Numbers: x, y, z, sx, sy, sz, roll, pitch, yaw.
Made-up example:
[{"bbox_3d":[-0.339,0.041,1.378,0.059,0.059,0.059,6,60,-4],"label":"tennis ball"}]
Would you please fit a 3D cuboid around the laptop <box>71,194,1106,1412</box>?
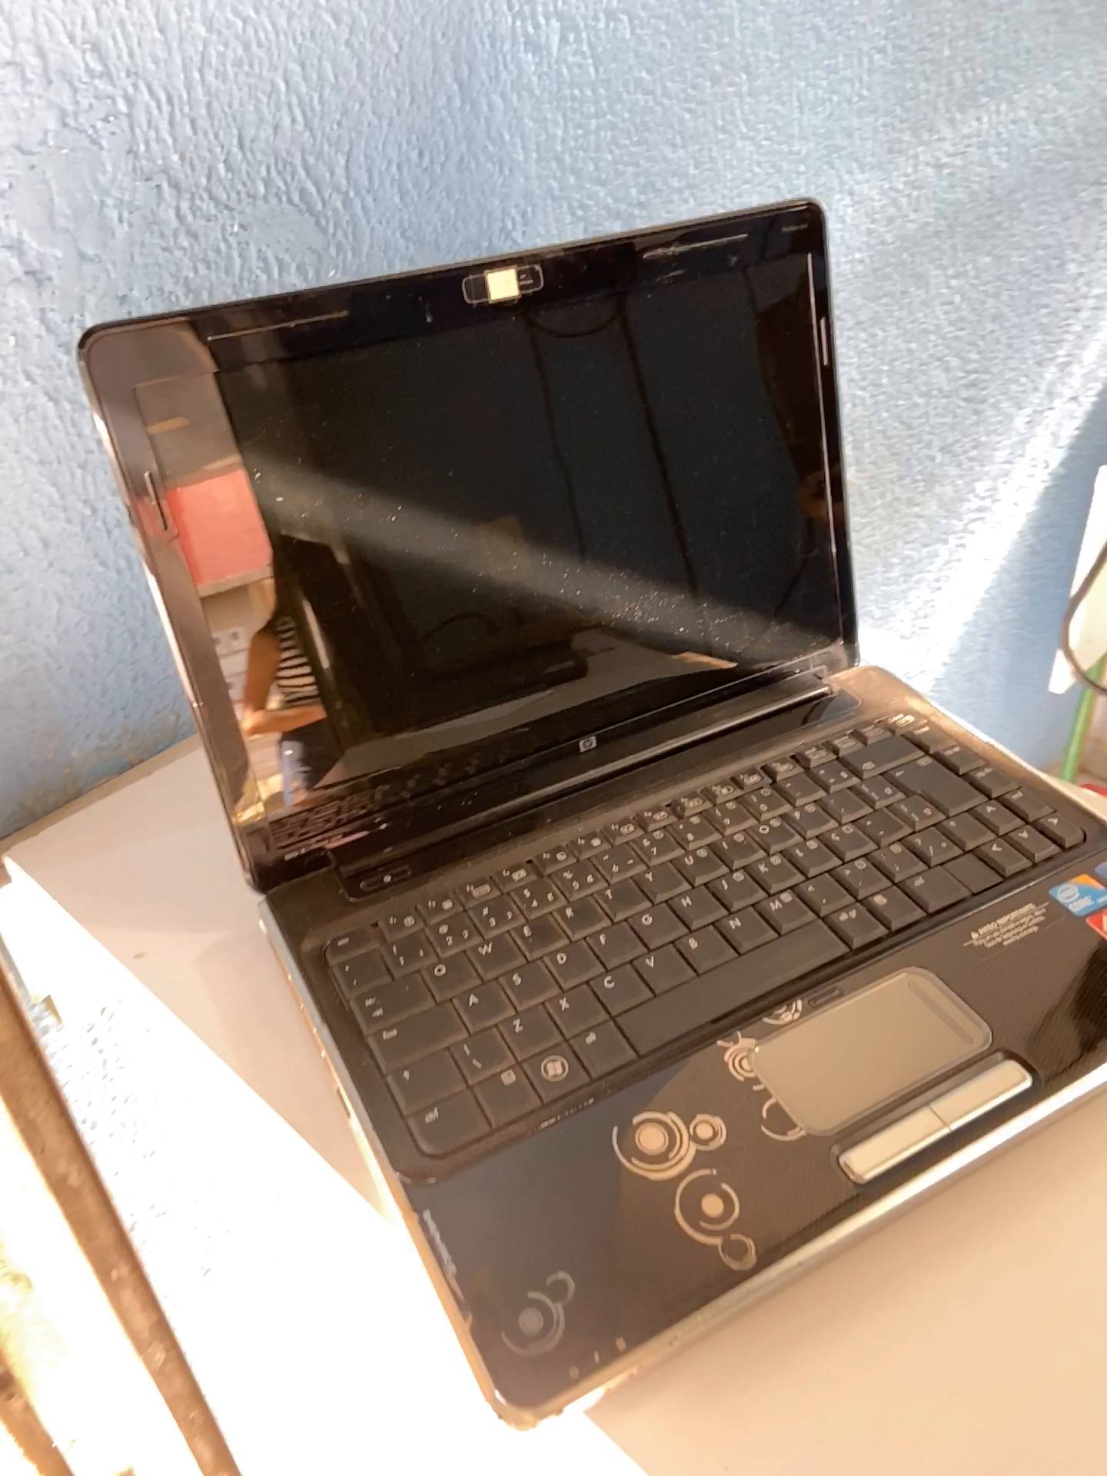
[{"bbox_3d":[0.050,-0.034,0.410,0.322,0.210,0.303,-20,39,-21],"label":"laptop"}]
